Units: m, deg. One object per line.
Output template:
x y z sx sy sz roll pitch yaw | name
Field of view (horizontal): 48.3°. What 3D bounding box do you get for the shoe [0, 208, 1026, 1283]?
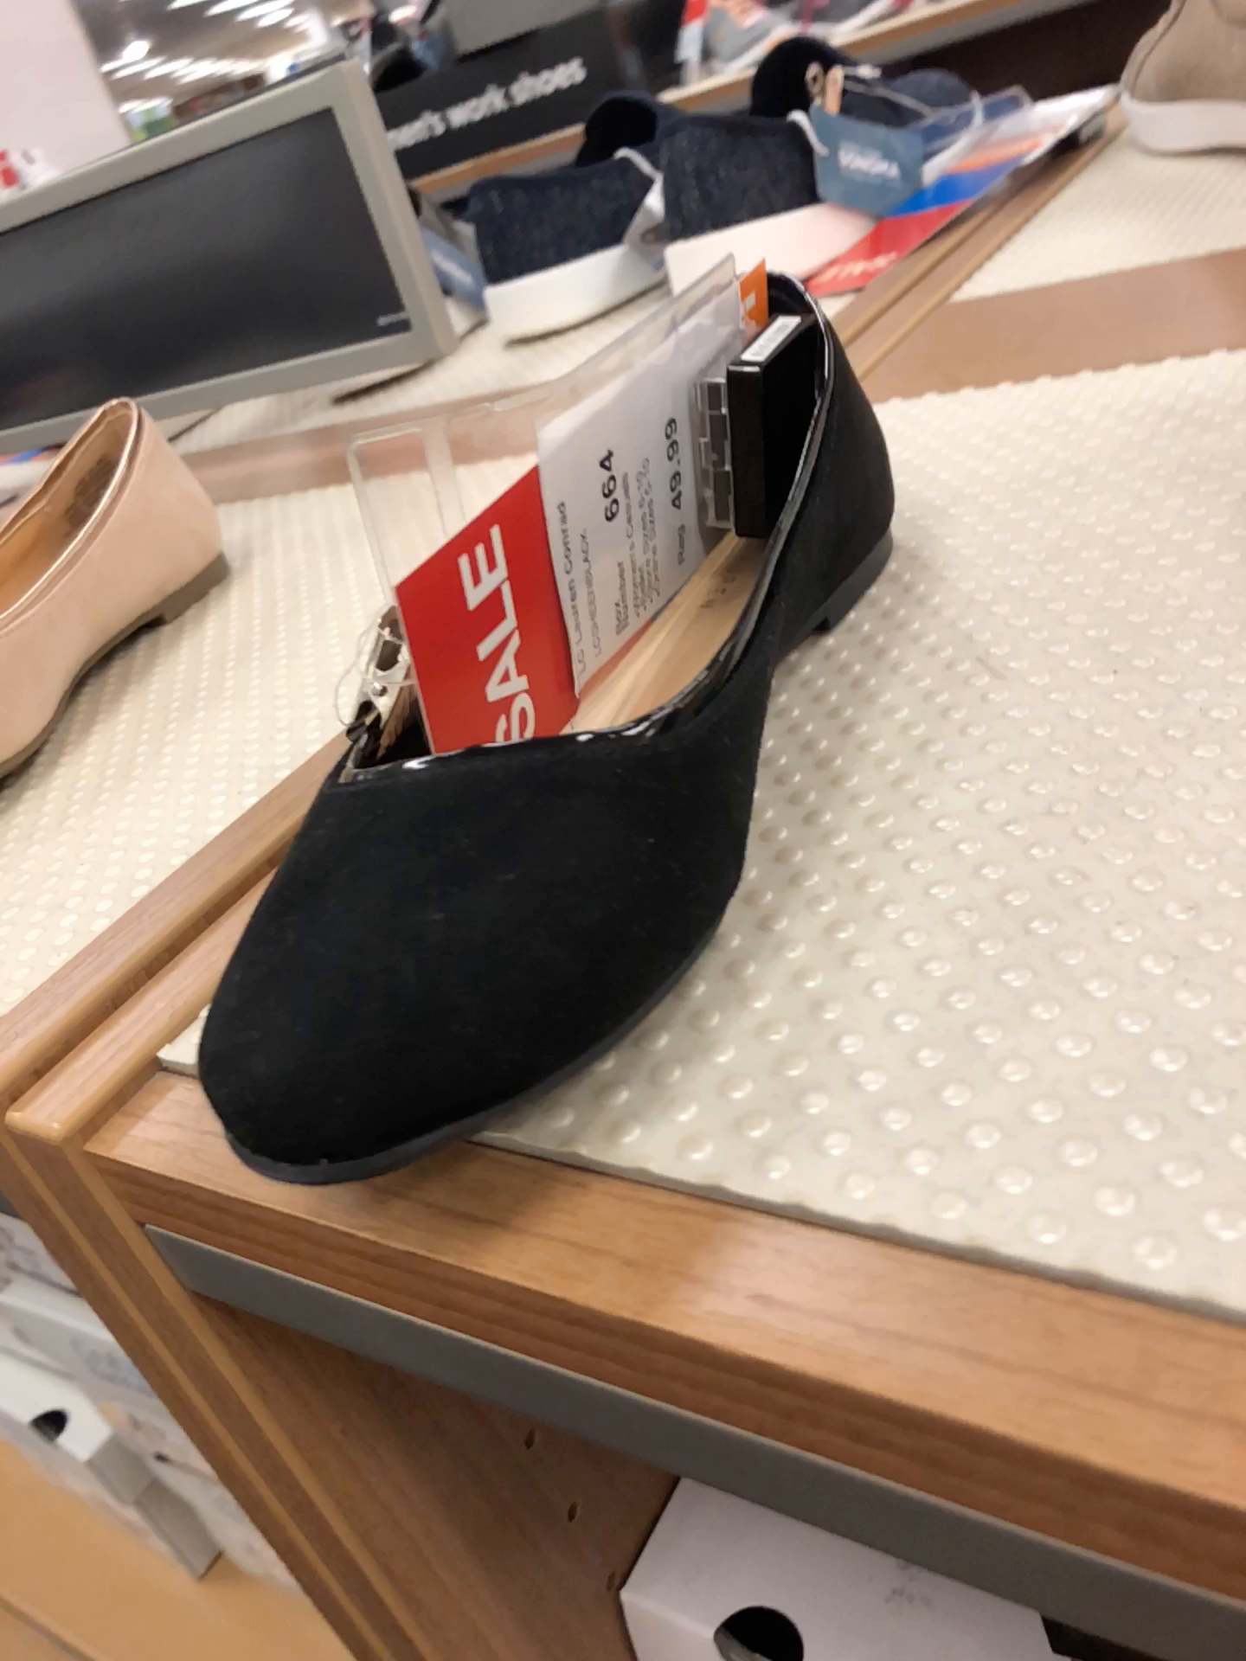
0.000 -0.040 0.256 0.091 0.064 0.239 -2 34 31 | shoe
